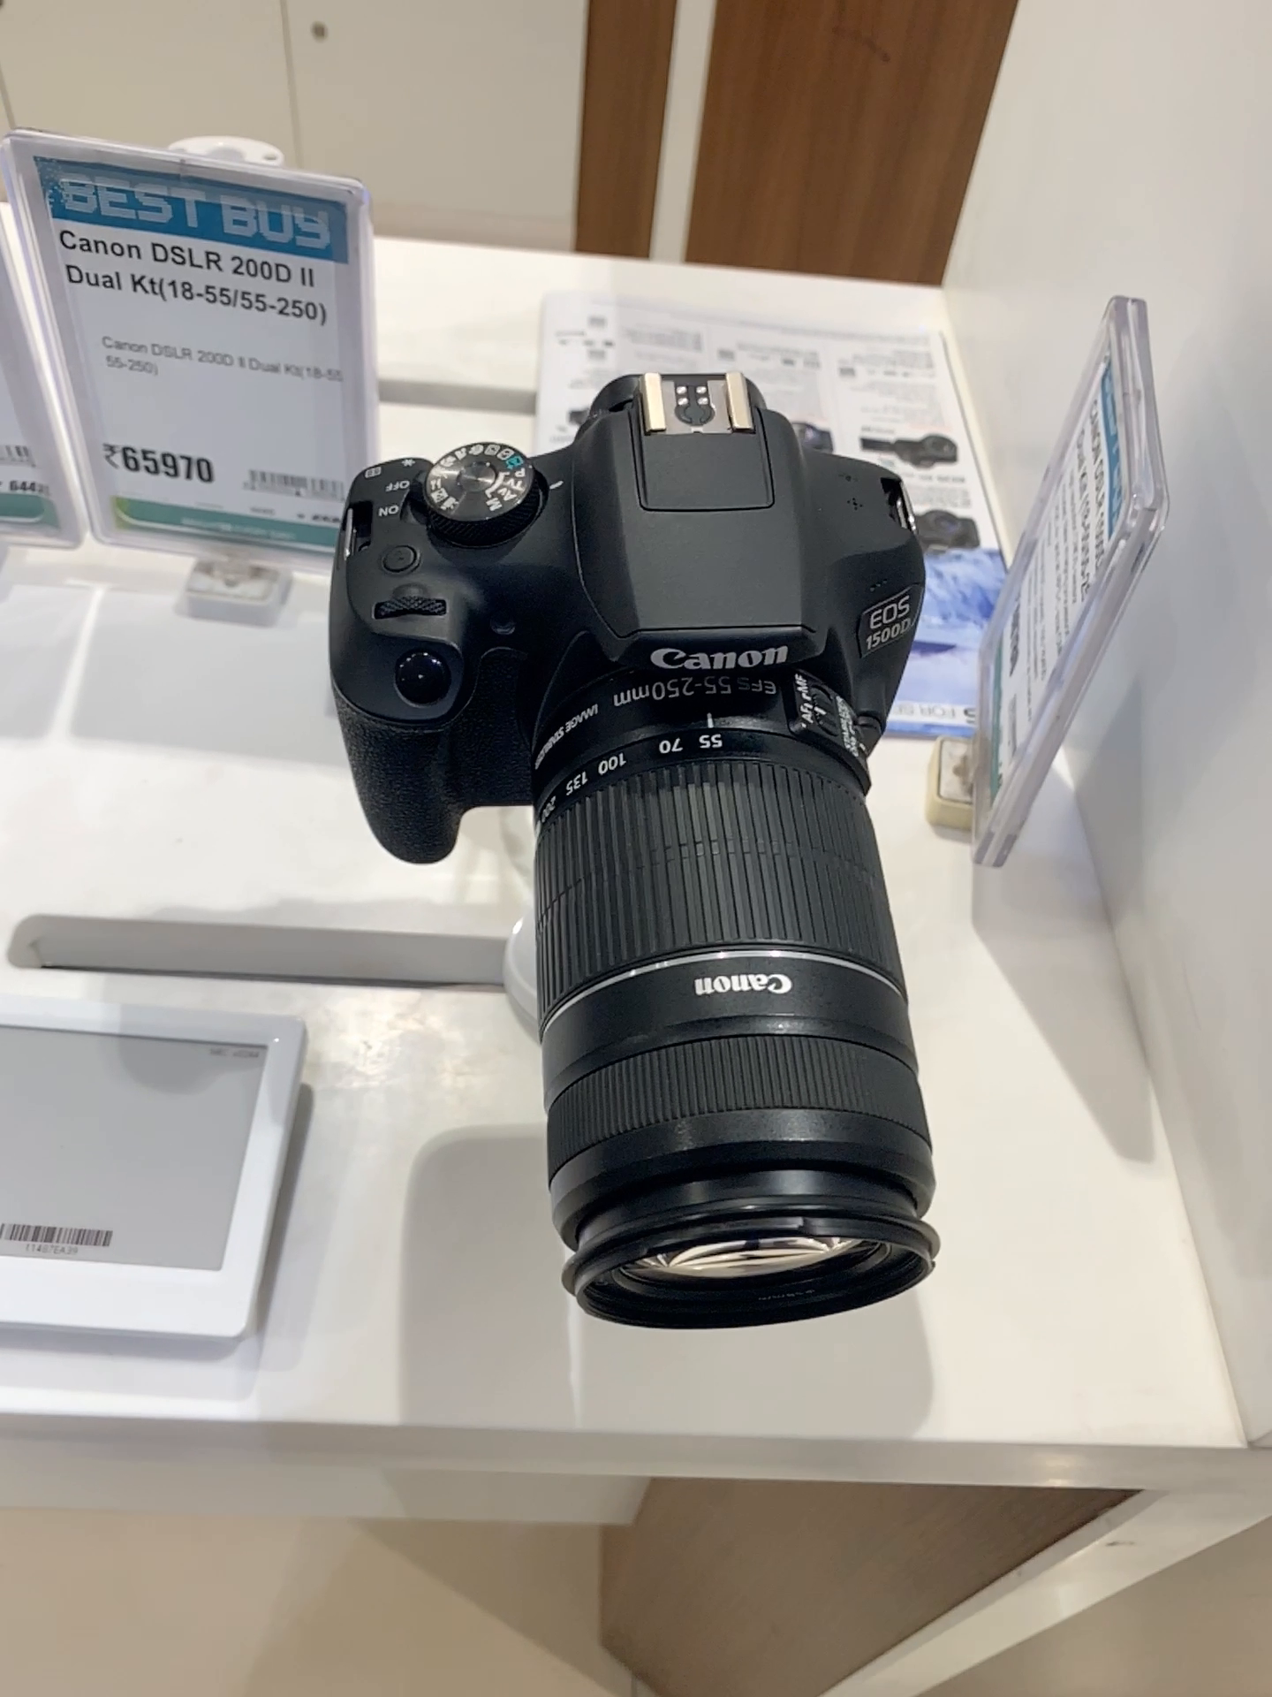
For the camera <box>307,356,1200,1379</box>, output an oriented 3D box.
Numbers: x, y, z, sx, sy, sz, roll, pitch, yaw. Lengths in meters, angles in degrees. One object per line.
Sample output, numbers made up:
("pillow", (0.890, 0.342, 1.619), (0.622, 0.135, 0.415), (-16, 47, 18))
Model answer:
("camera", (0.005, 0.001, 0.249), (0.117, 0.090, 0.164), (-2, 60, -8))
